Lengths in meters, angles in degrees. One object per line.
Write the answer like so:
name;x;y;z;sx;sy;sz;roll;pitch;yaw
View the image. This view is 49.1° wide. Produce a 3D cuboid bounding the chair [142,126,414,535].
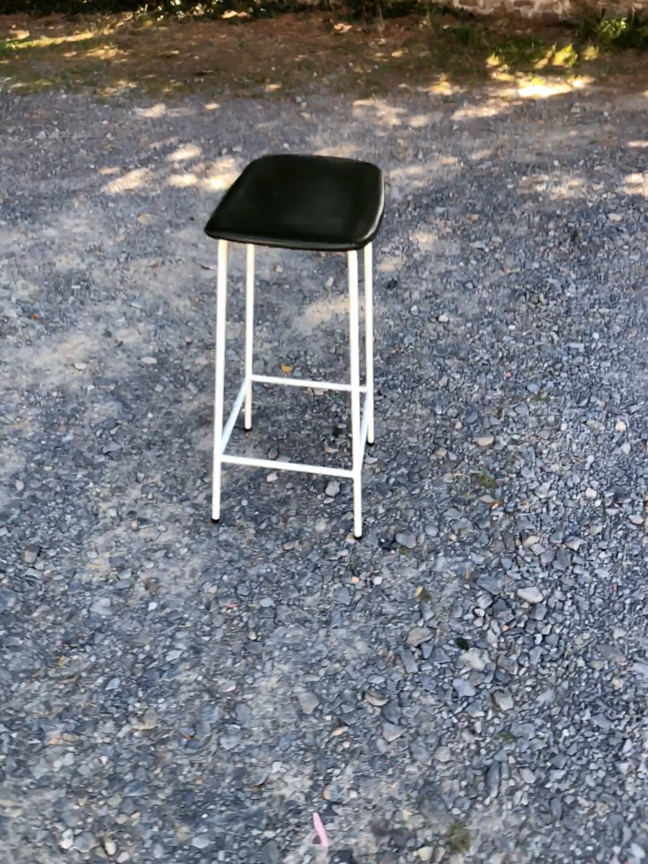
chair;-0.051;-0.177;1.355;0.370;0.646;0.372;6;42;6
